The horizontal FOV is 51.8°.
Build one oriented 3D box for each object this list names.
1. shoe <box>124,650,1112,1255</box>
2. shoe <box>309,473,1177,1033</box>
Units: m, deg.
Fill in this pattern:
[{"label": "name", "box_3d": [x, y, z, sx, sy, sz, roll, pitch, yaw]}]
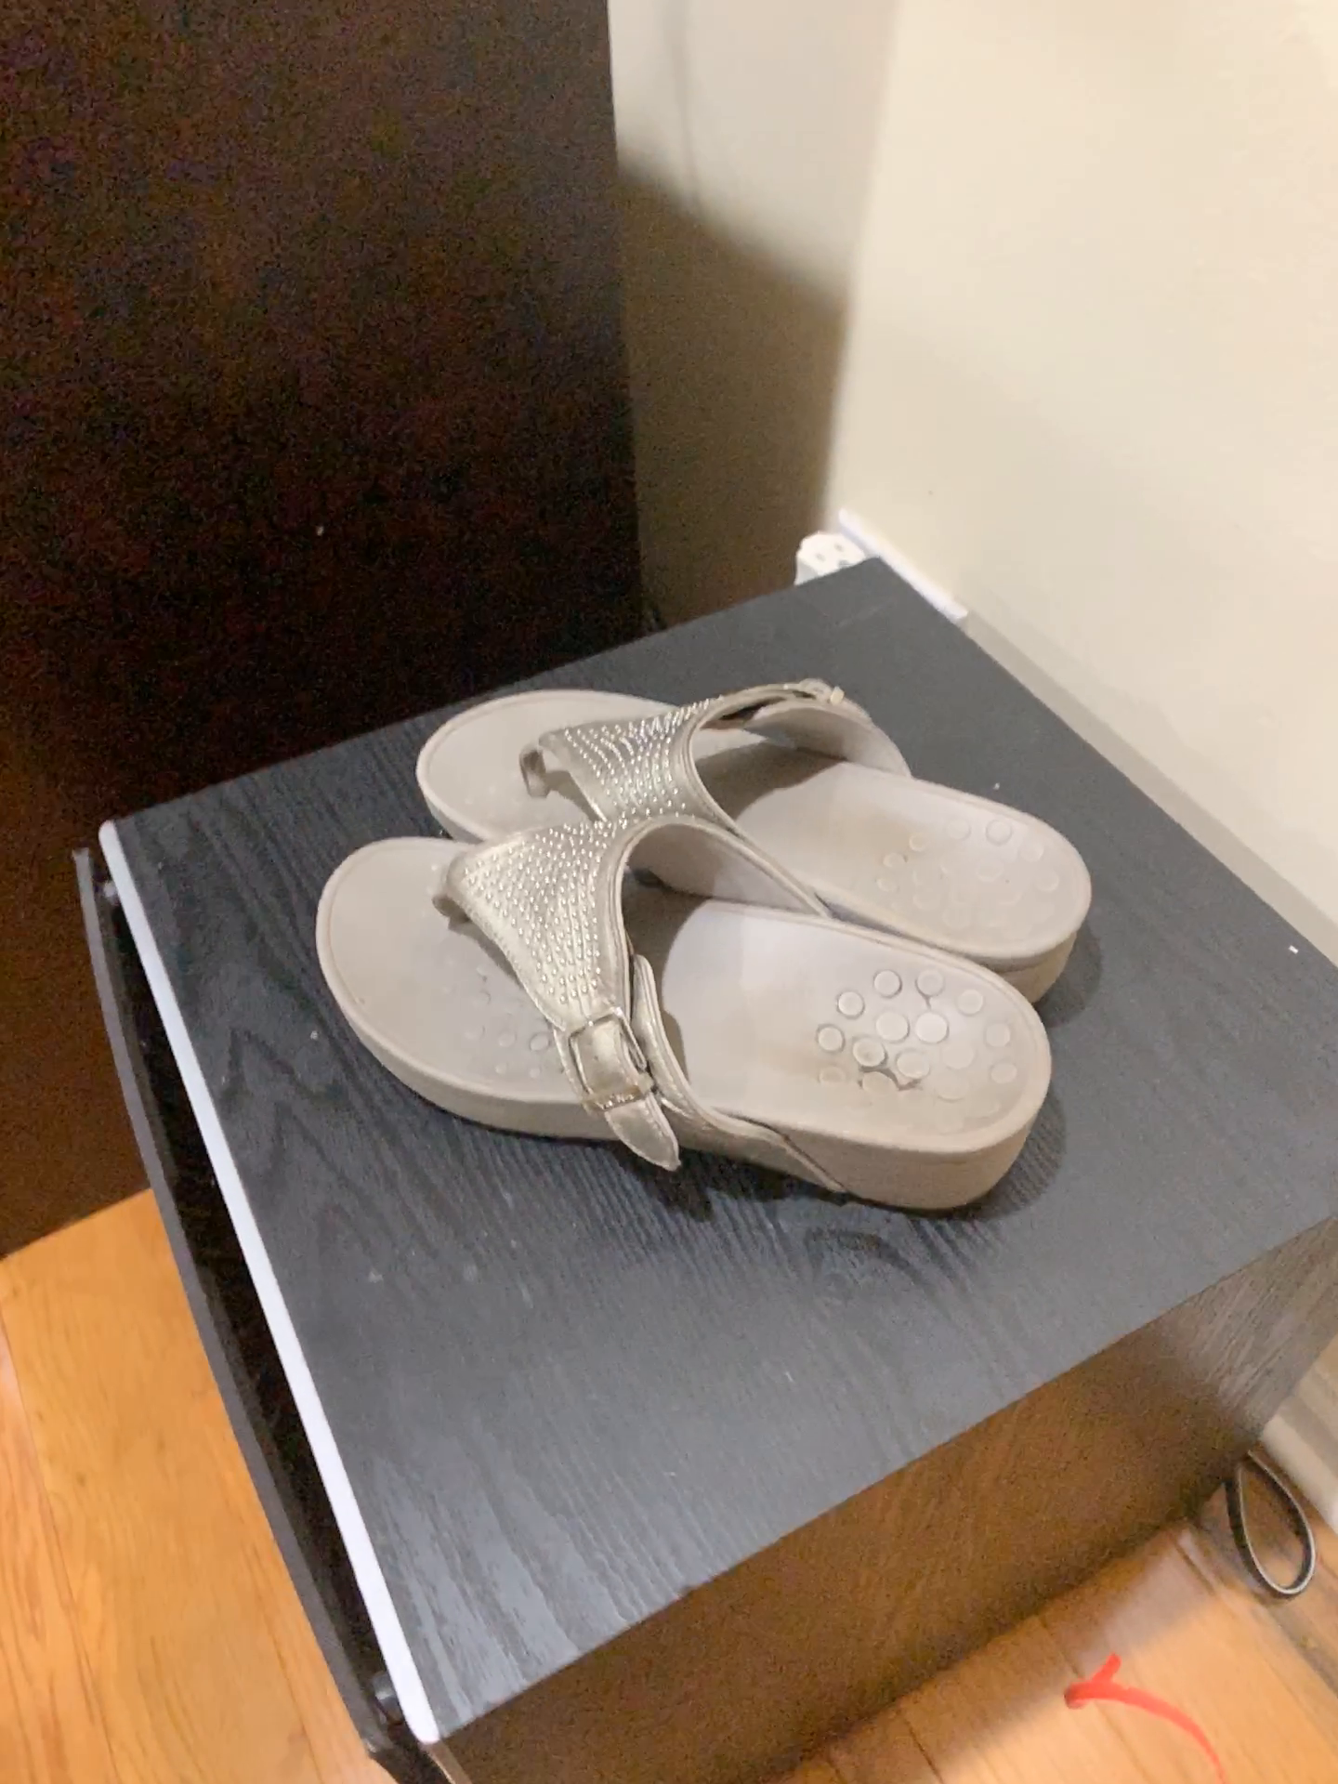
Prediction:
[{"label": "shoe", "box_3d": [-0.009, 0.011, 0.402, 0.247, 0.080, 0.109, 10, 50, 11]}, {"label": "shoe", "box_3d": [0.024, -0.054, 0.458, 0.247, 0.080, 0.109, 16, 51, 16]}]
